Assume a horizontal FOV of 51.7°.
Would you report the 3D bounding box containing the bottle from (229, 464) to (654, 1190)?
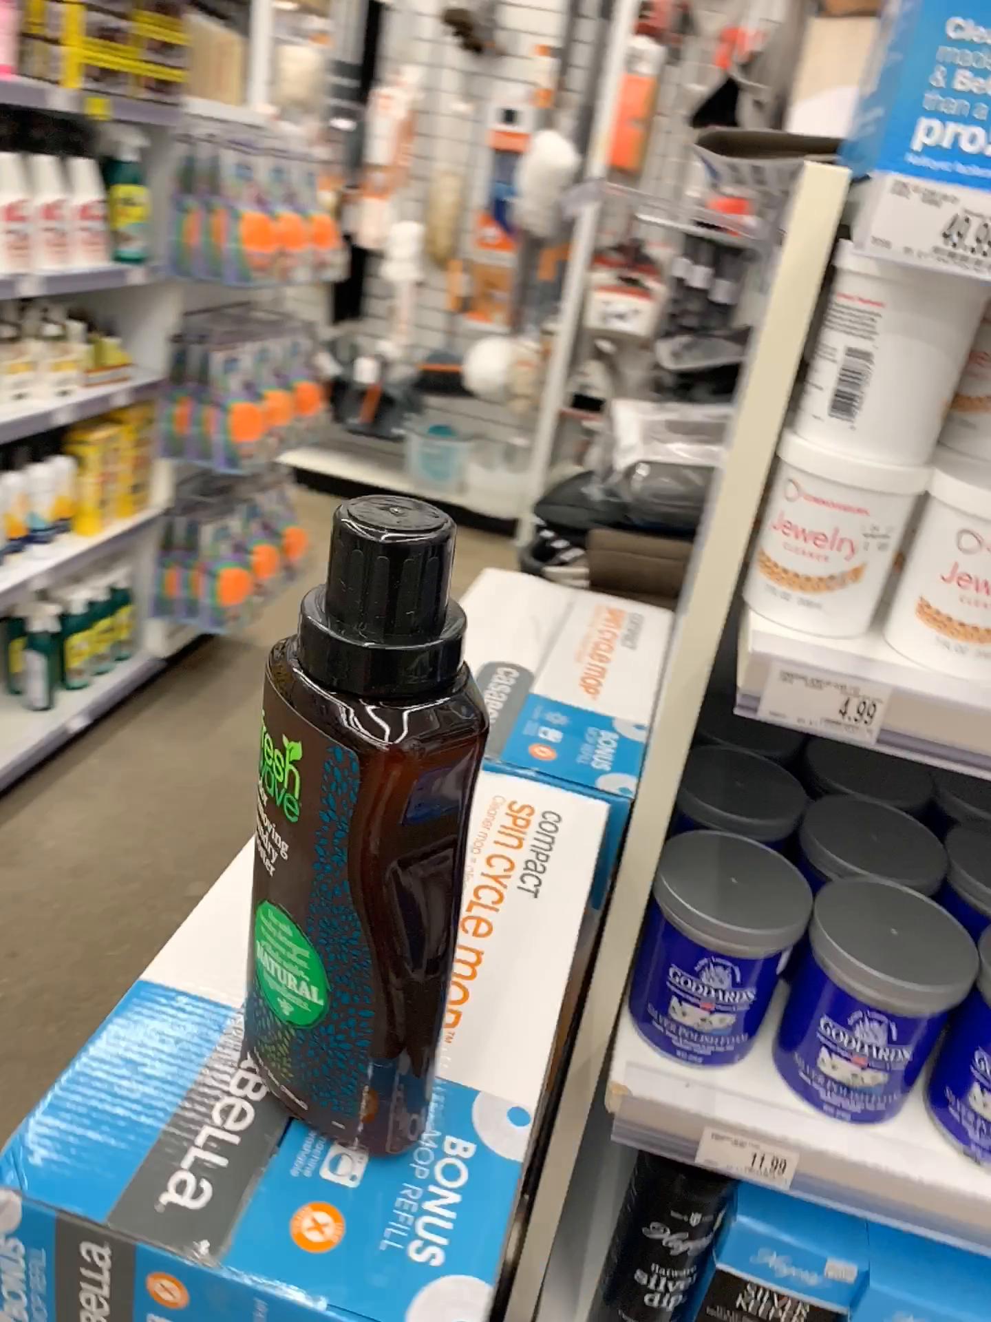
[{"bbox_3d":[-0.030,0.052,0.344,0.070,0.209,0.100,-10,32,-37],"label":"bottle"}]
